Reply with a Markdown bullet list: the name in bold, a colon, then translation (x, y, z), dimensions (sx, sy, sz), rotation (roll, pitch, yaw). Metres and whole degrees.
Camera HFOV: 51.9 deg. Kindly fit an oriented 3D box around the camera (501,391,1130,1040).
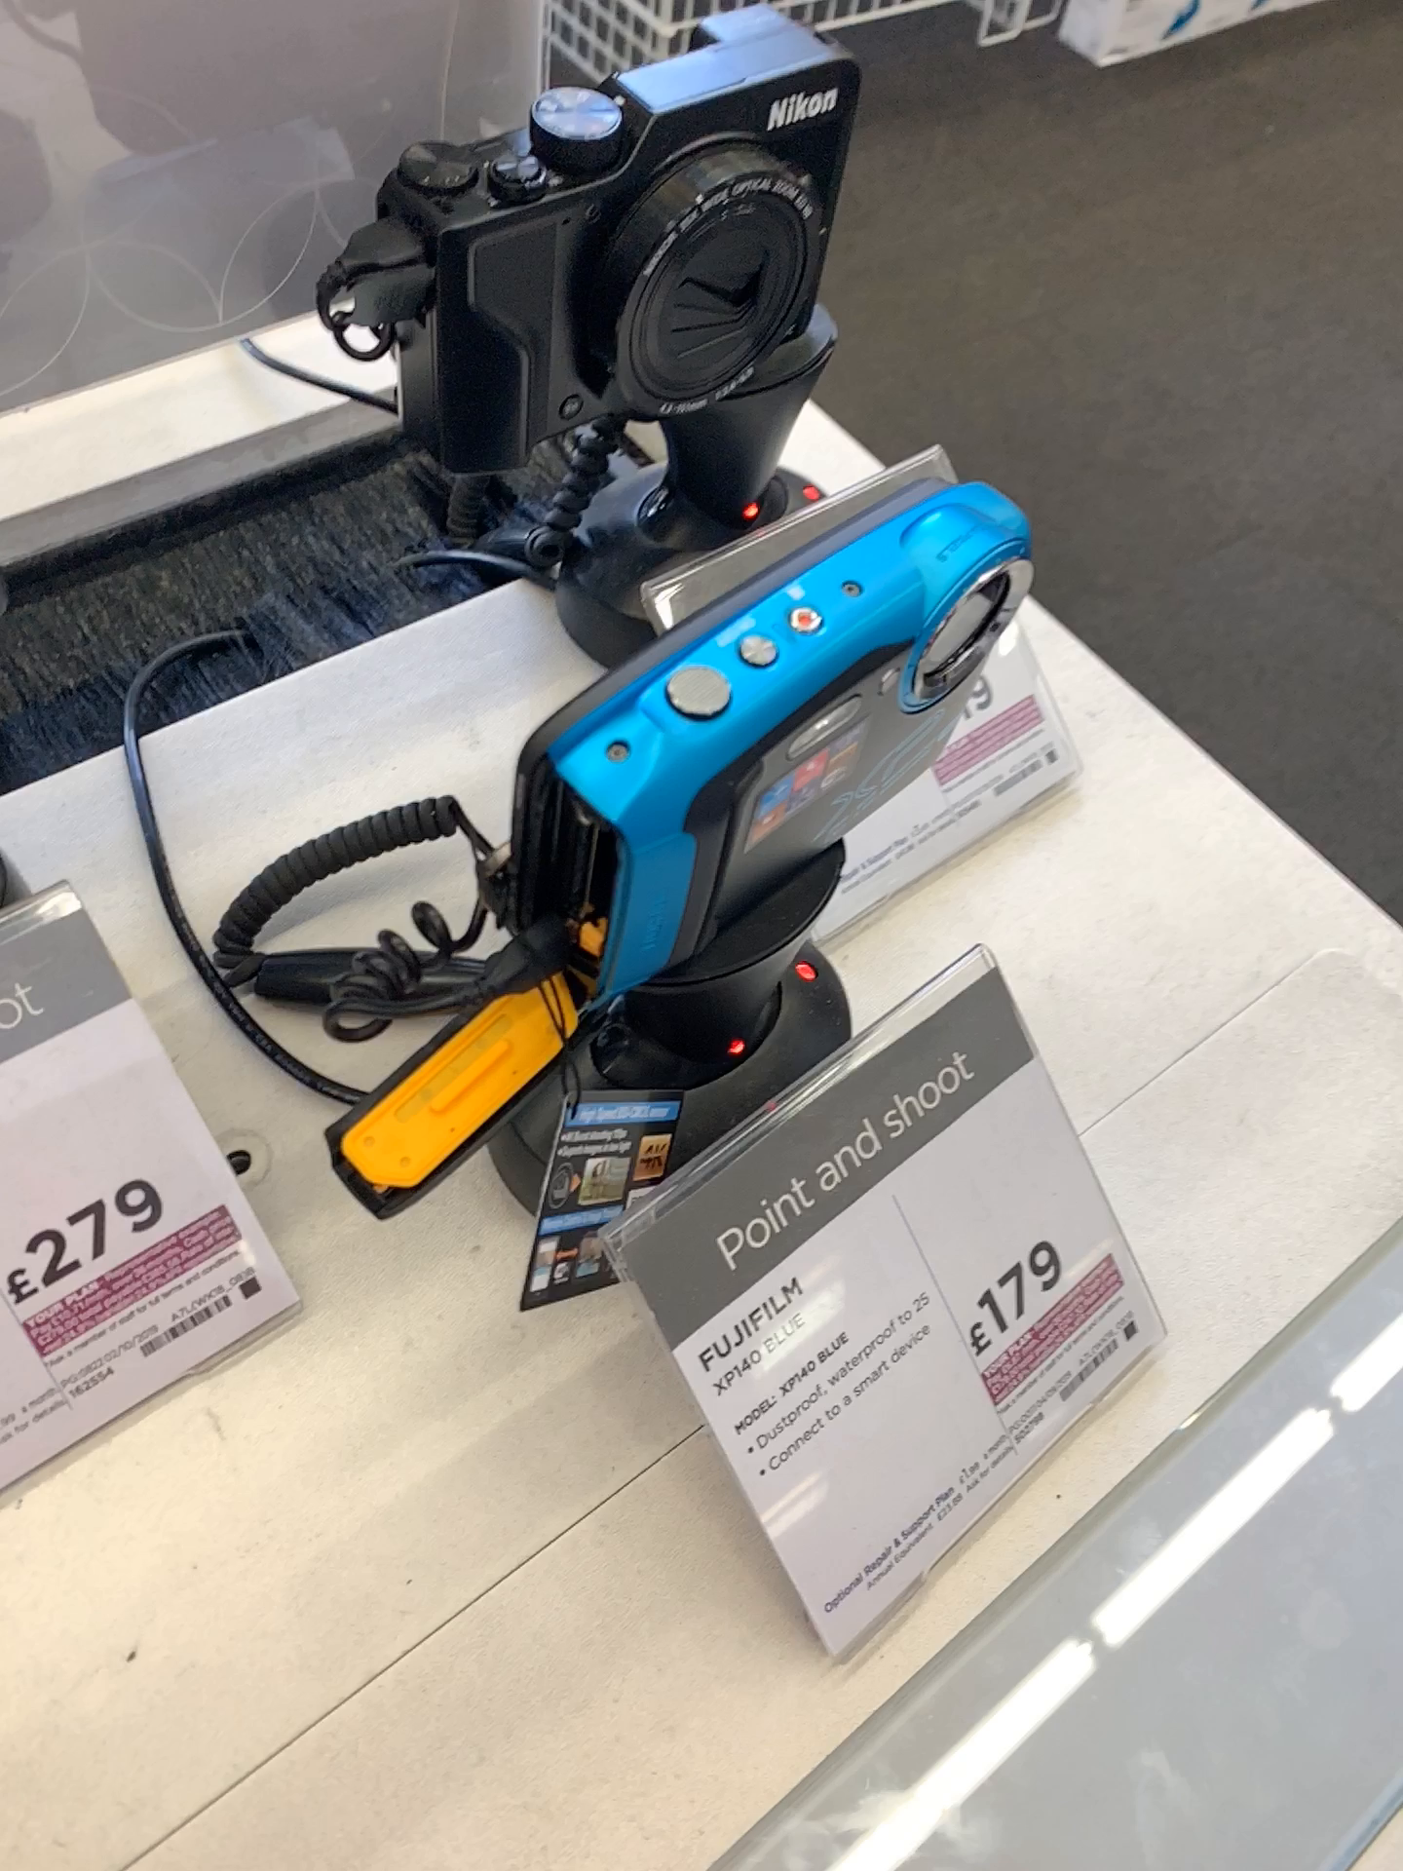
- **camera**: translation (0.019, -0.039, 0.243), dimensions (0.030, 0.060, 0.111), rotation (42, 60, 19)
